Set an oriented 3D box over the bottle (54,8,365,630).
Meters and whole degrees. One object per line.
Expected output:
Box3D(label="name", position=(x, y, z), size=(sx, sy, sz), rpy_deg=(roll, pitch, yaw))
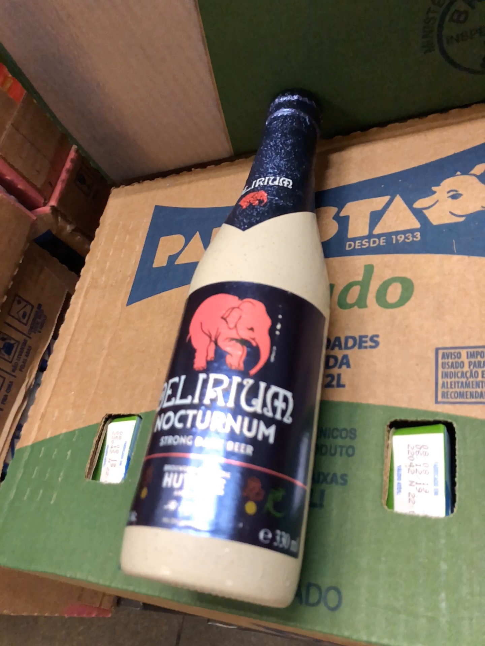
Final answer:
Box3D(label="bottle", position=(0.005, -0.024, 0.221), size=(0.060, 0.050, 0.251), rpy_deg=(-4, 58, 27))
